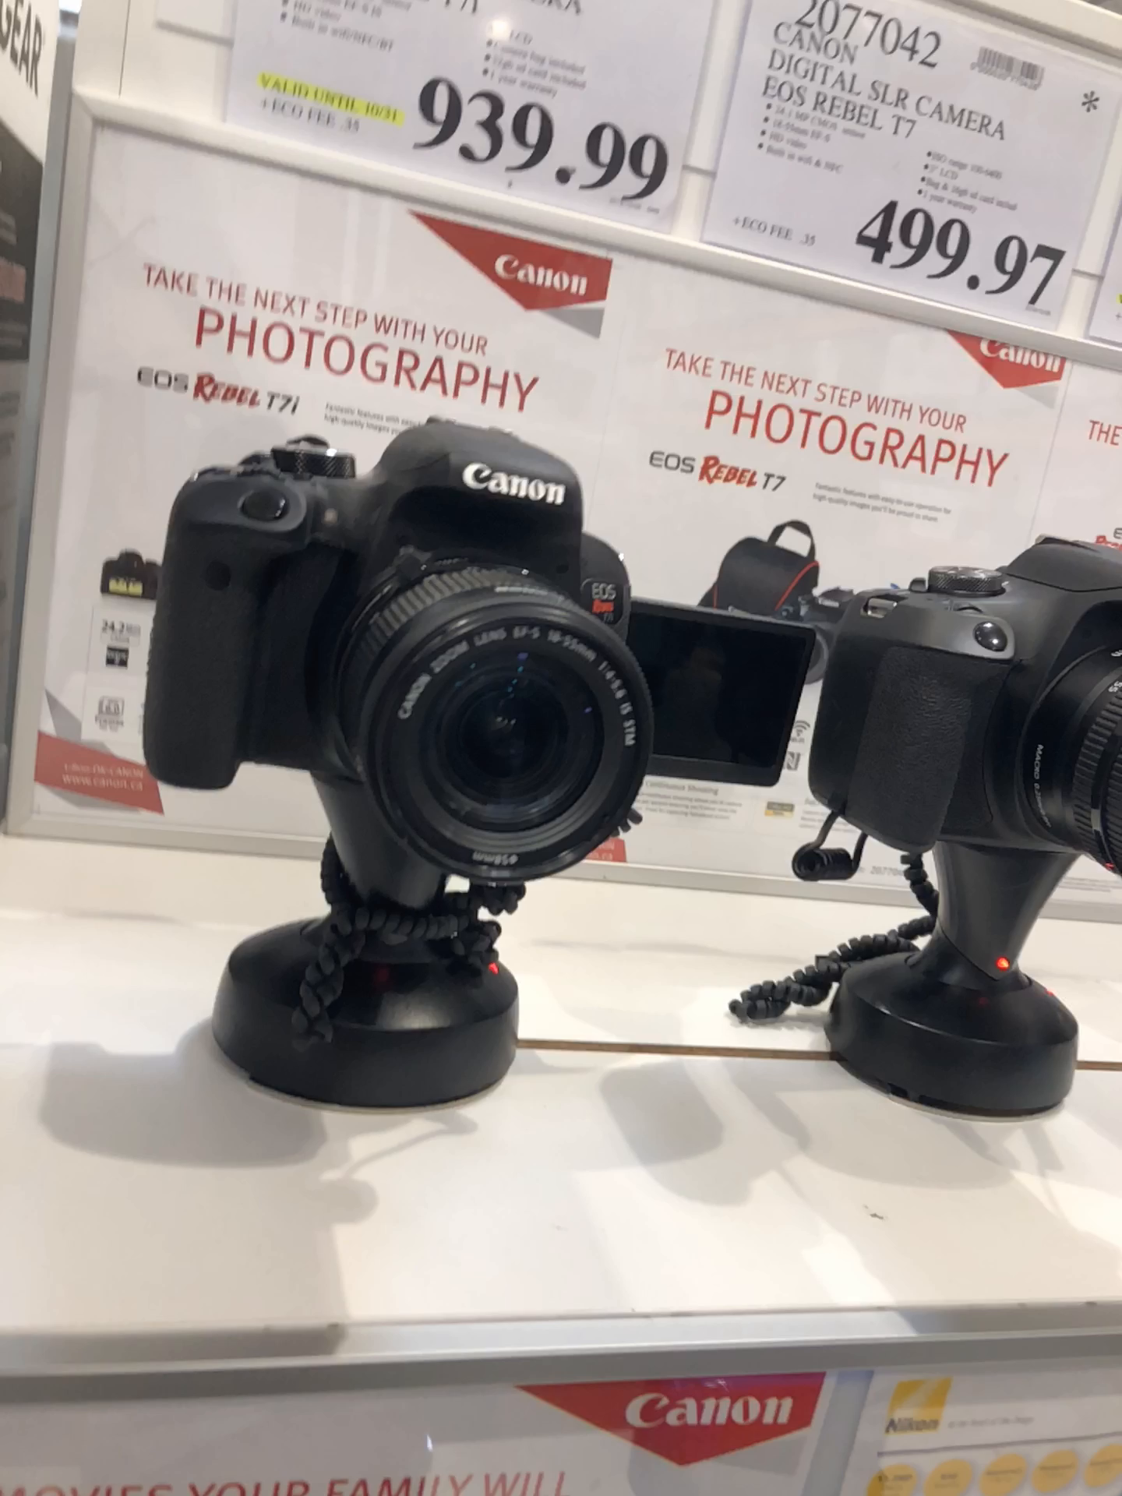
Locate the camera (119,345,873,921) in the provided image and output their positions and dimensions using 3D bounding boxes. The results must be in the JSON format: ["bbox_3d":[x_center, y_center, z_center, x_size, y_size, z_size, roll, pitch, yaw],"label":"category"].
[{"bbox_3d":[-0.031,-0.037,0.318,0.140,0.100,0.151,6,14,-19],"label":"camera"}]
